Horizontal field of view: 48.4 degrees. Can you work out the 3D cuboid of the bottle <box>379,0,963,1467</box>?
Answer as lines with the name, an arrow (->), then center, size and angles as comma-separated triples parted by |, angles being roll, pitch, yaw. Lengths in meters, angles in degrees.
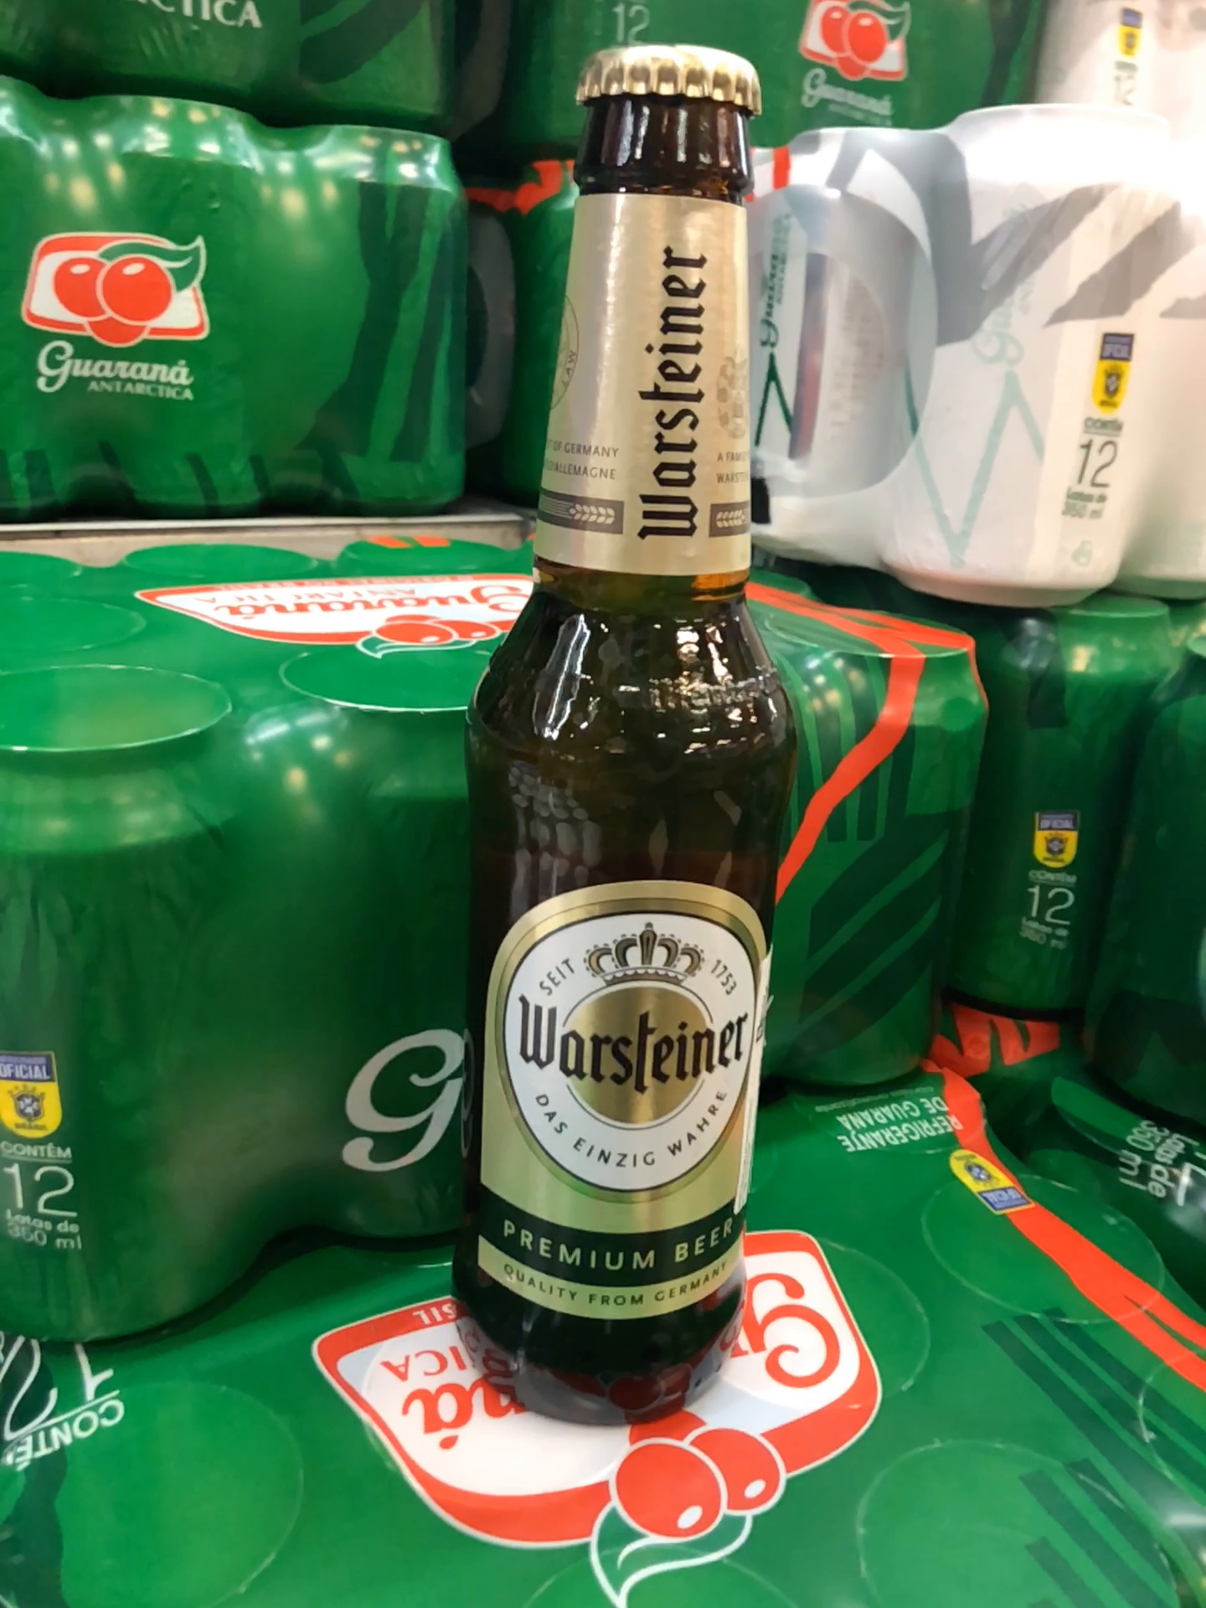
bottle -> 0.002, -0.002, 0.228 | 0.070, 0.229, 0.060 | 3, 19, -2
